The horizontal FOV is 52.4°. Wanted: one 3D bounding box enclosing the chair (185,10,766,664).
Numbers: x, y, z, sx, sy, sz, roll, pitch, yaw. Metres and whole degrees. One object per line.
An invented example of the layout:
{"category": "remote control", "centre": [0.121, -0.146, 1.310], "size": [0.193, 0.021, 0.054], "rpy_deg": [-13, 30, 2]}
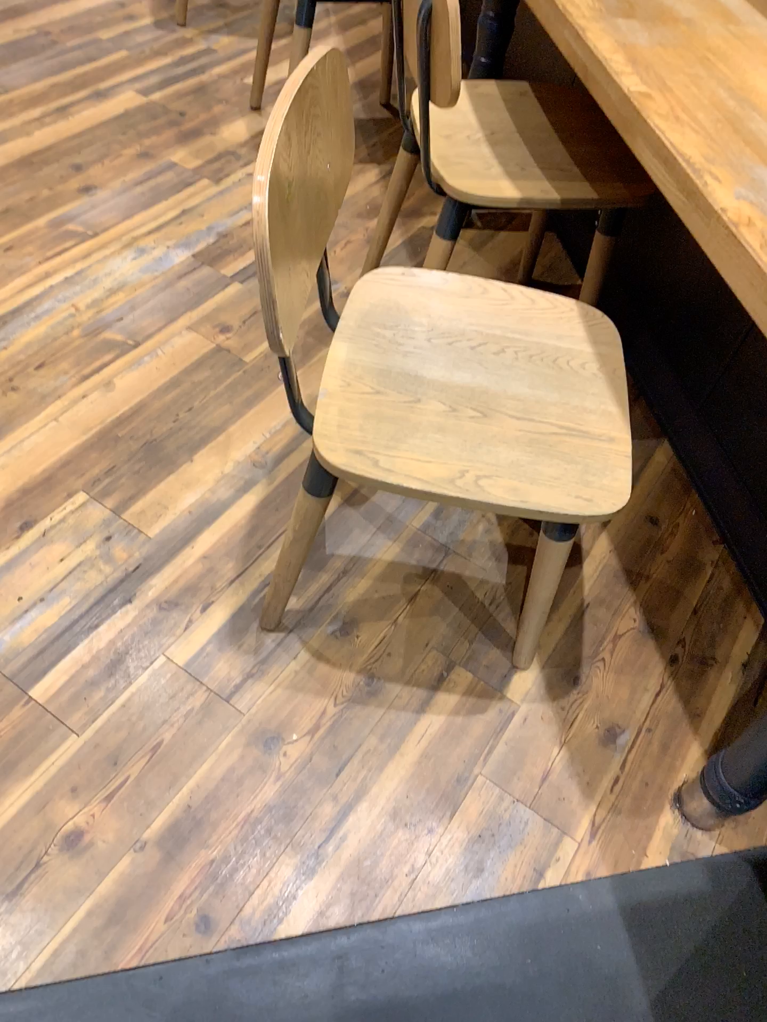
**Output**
{"category": "chair", "centre": [0.072, -0.182, 1.055], "size": [0.500, 0.684, 0.414], "rpy_deg": [10, 50, 1]}
